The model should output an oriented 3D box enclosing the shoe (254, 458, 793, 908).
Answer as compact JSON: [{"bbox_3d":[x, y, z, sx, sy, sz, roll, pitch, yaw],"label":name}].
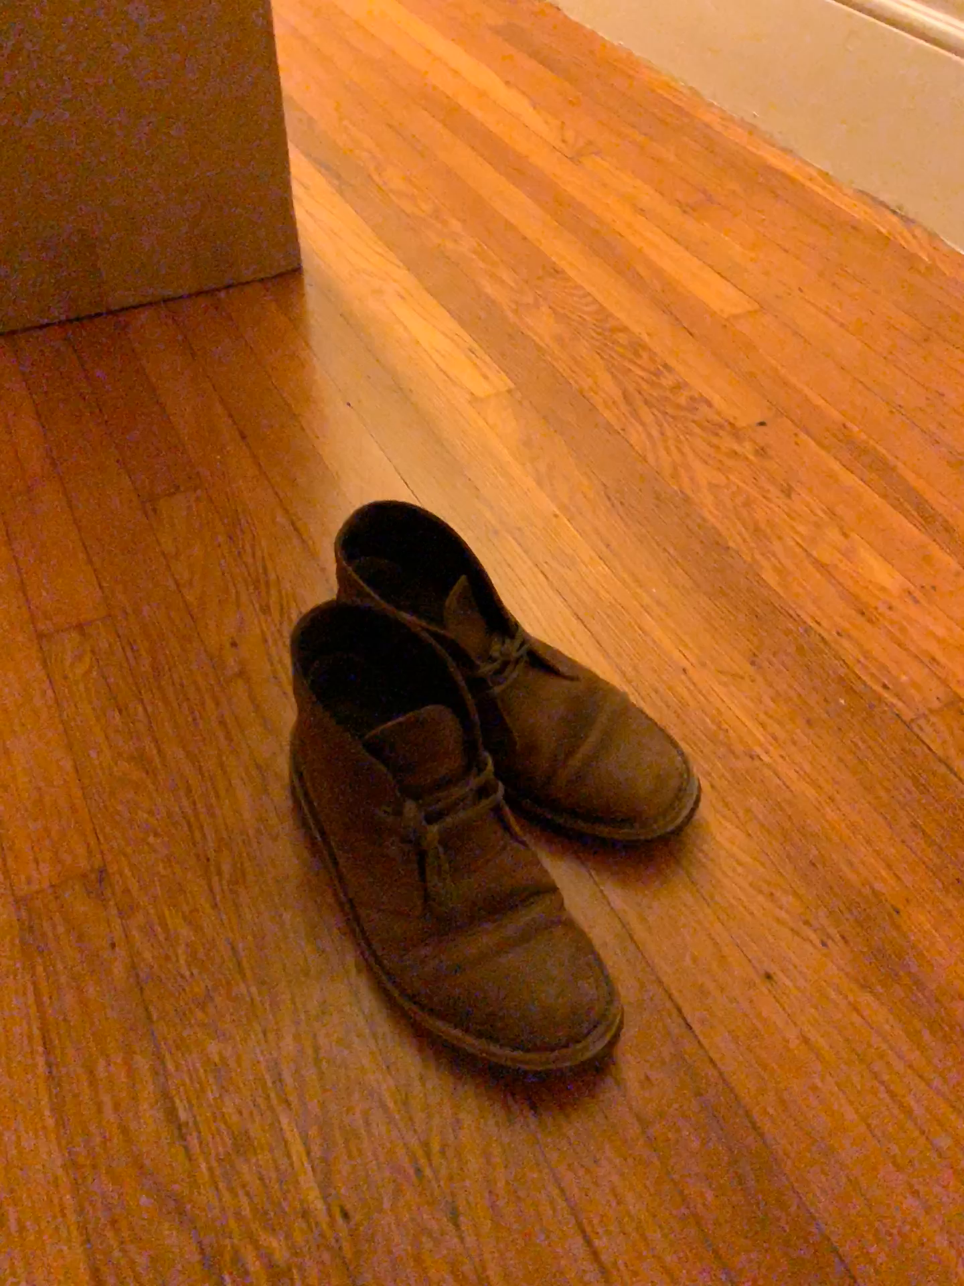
[{"bbox_3d":[0.017,0.015,0.625,0.301,0.119,0.120,27,53,21],"label":"shoe"}]

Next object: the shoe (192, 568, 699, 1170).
[{"bbox_3d":[-0.034,0.109,0.551,0.120,0.119,0.291,-27,54,-23],"label":"shoe"}]
